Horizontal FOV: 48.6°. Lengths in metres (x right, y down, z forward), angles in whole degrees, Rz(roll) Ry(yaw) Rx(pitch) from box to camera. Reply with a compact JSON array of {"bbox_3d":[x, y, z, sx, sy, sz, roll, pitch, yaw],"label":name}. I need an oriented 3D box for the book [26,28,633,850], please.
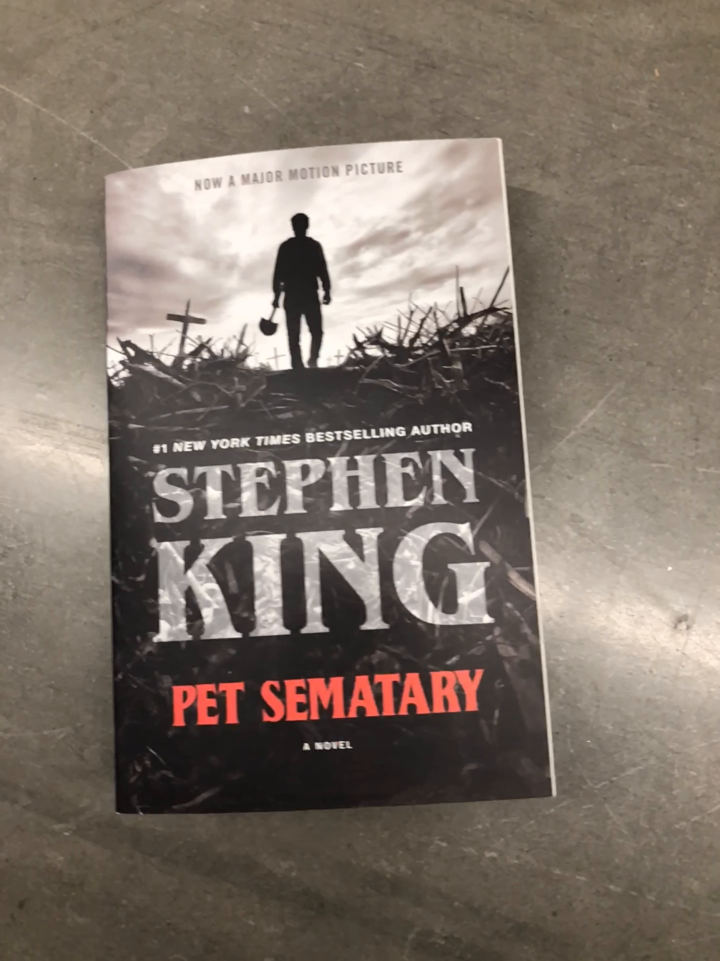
[{"bbox_3d":[-0.010,-0.011,0.244,0.160,0.050,0.220,-2,88,2],"label":"book"}]
